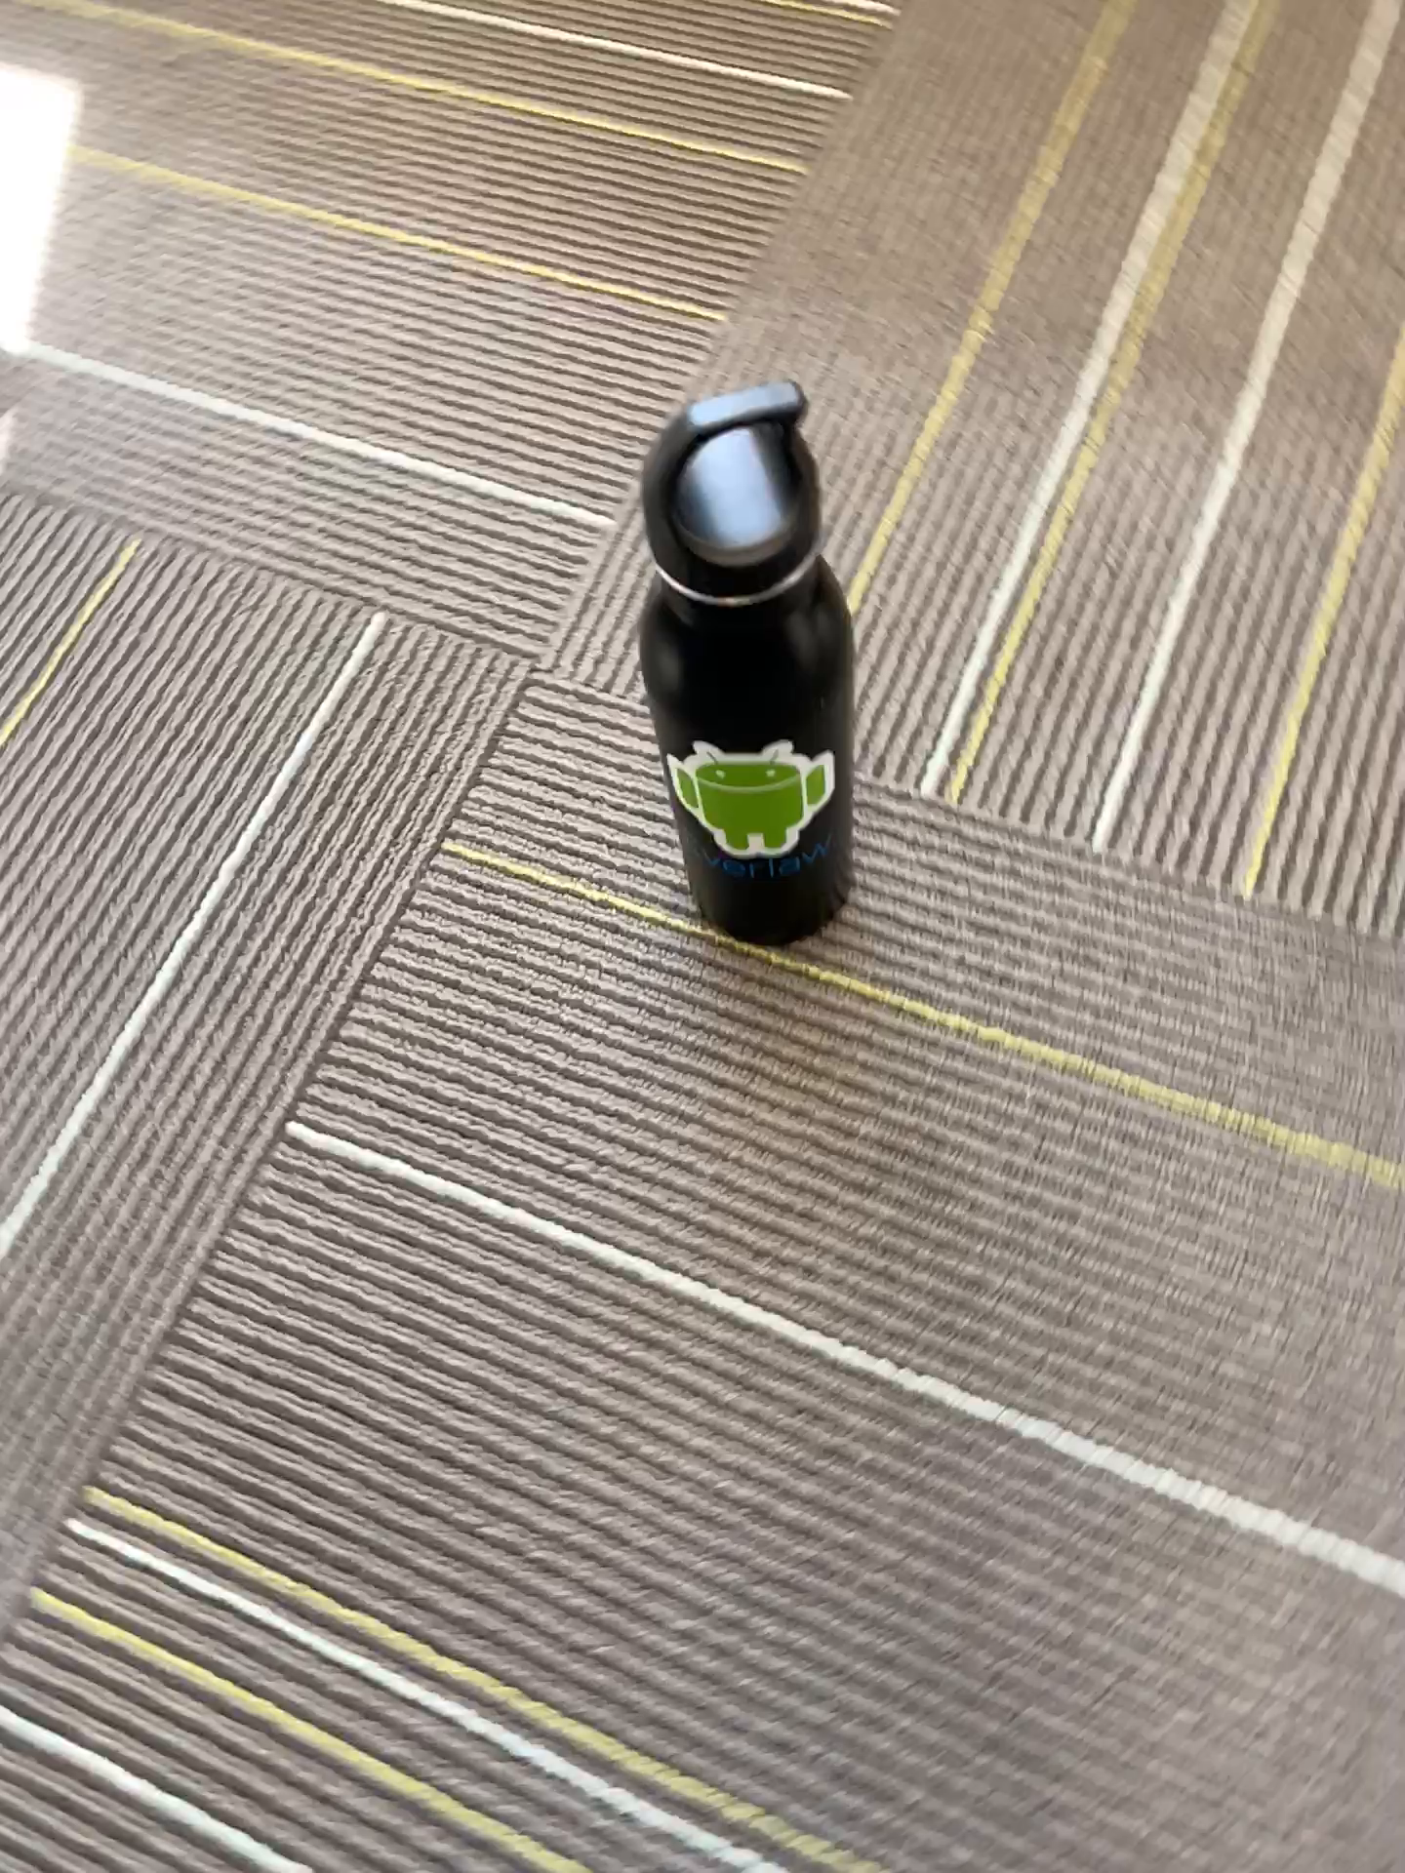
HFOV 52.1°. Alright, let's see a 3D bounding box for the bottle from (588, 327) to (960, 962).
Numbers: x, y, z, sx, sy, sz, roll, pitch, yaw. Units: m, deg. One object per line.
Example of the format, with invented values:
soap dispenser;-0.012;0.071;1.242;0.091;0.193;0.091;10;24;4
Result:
bottle;0.027;-0.075;0.473;0.090;0.239;0.080;-1;67;5
